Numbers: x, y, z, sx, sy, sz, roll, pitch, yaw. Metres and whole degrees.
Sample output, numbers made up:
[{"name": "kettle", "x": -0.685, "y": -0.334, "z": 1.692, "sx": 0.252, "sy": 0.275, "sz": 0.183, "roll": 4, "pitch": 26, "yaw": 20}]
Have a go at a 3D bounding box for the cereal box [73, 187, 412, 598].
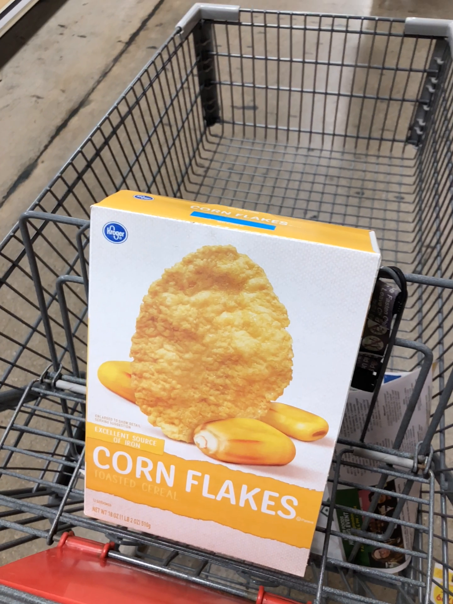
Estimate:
[{"name": "cereal box", "x": -0.002, "y": 0.075, "z": 0.424, "sx": 0.230, "sy": 0.300, "sz": 0.080, "roll": 11, "pitch": 23, "yaw": 11}]
